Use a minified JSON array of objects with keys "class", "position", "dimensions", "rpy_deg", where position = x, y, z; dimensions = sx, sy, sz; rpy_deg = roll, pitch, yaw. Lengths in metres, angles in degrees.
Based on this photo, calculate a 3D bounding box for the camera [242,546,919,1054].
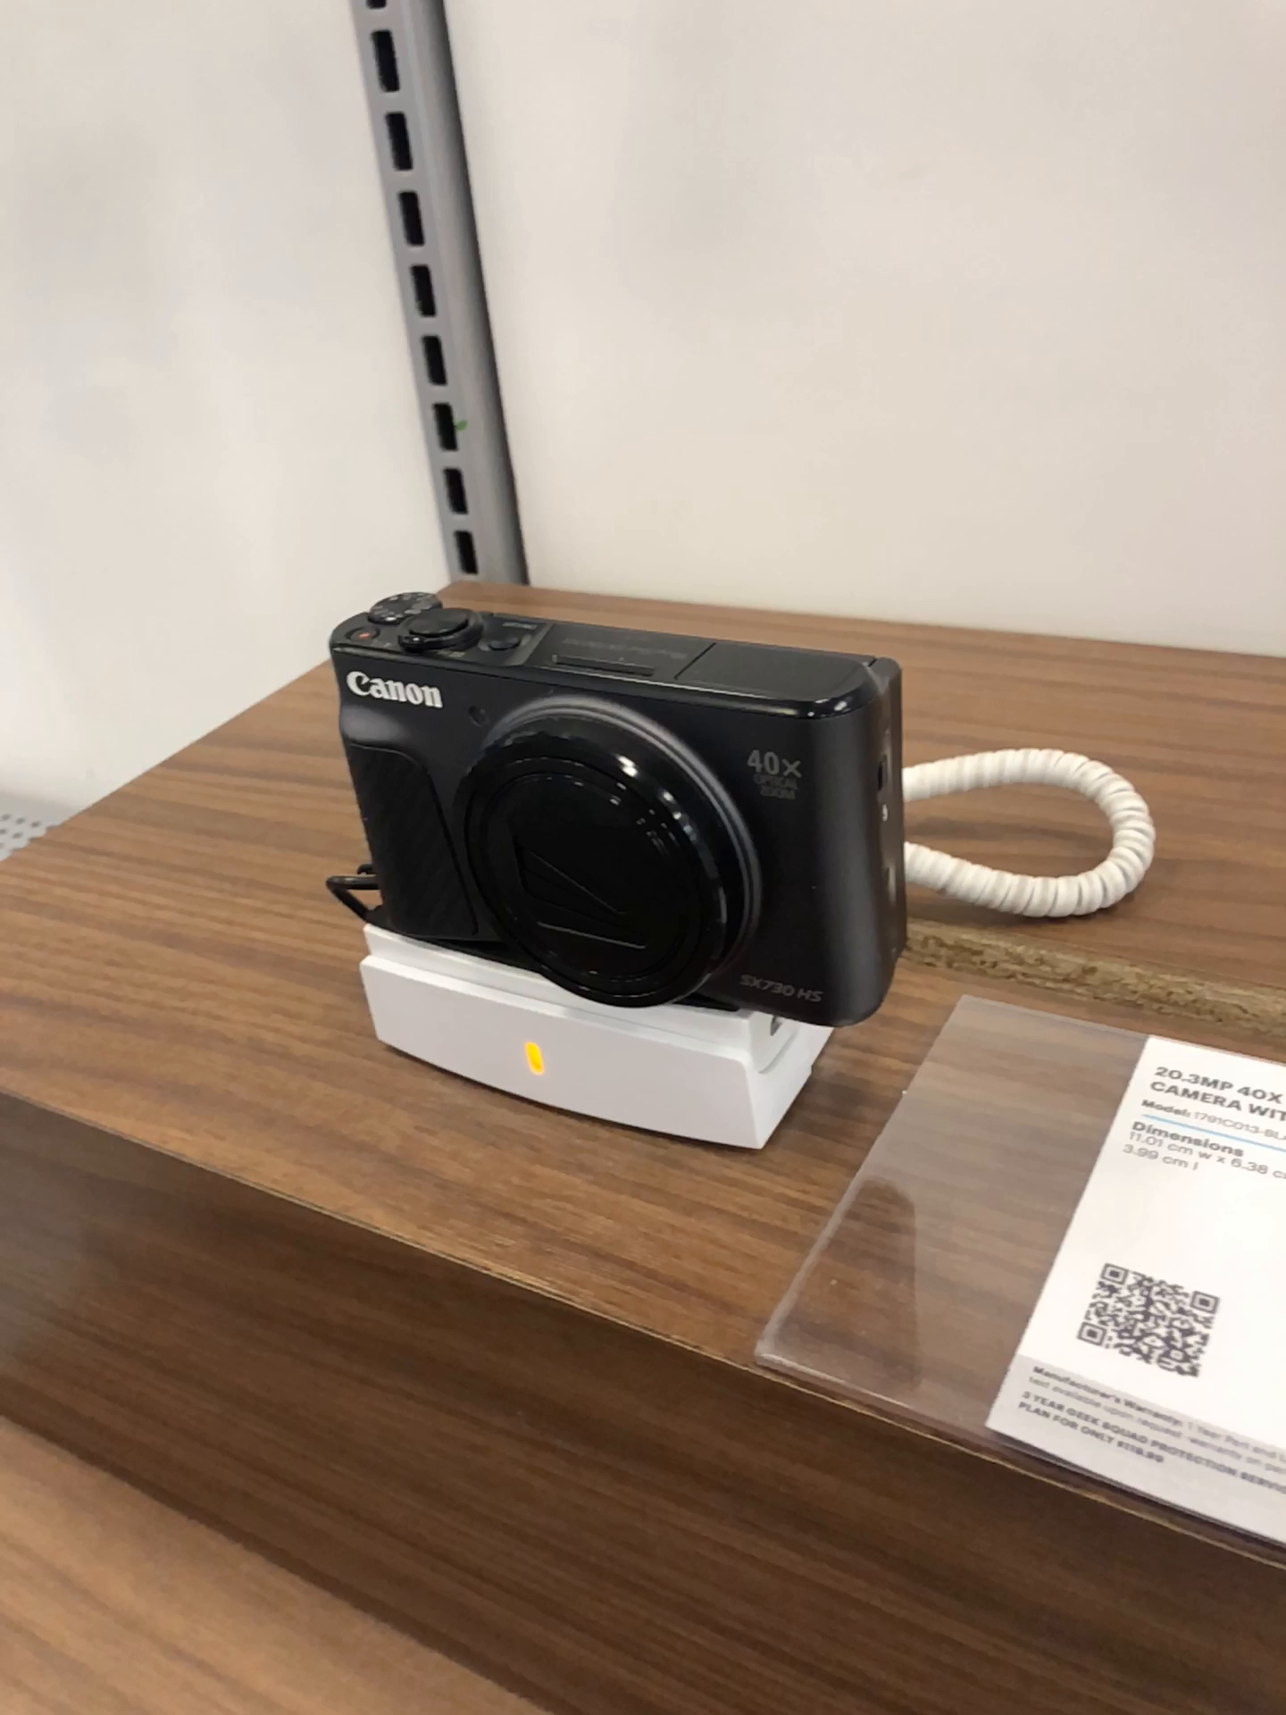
[{"class":"camera","position":[-0.012,-0.015,0.266],"dimensions":[0.120,0.070,0.030],"rpy_deg":[12,34,29]}]
